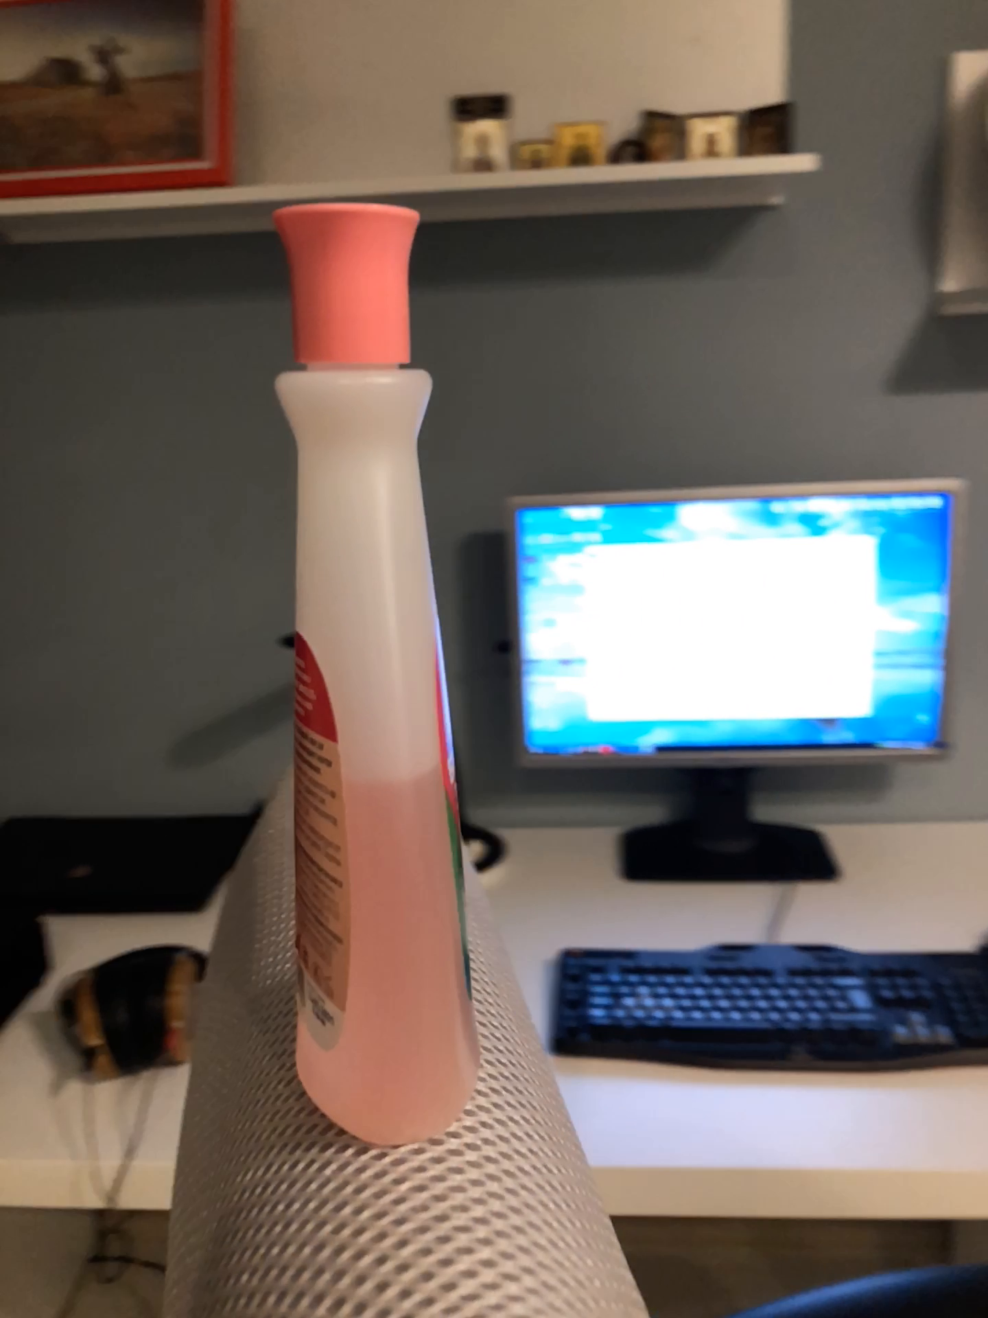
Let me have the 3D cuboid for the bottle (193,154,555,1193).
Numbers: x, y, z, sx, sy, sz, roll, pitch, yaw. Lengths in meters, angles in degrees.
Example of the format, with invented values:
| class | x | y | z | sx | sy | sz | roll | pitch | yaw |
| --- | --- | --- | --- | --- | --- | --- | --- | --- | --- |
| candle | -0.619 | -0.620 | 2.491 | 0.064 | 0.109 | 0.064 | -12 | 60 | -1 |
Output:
| class | x | y | z | sx | sy | sz | roll | pitch | yaw |
| --- | --- | --- | --- | --- | --- | --- | --- | --- | --- |
| bottle | -0.021 | 0.002 | 0.192 | 0.039 | 0.157 | 0.056 | -8 | 16 | -18 |
